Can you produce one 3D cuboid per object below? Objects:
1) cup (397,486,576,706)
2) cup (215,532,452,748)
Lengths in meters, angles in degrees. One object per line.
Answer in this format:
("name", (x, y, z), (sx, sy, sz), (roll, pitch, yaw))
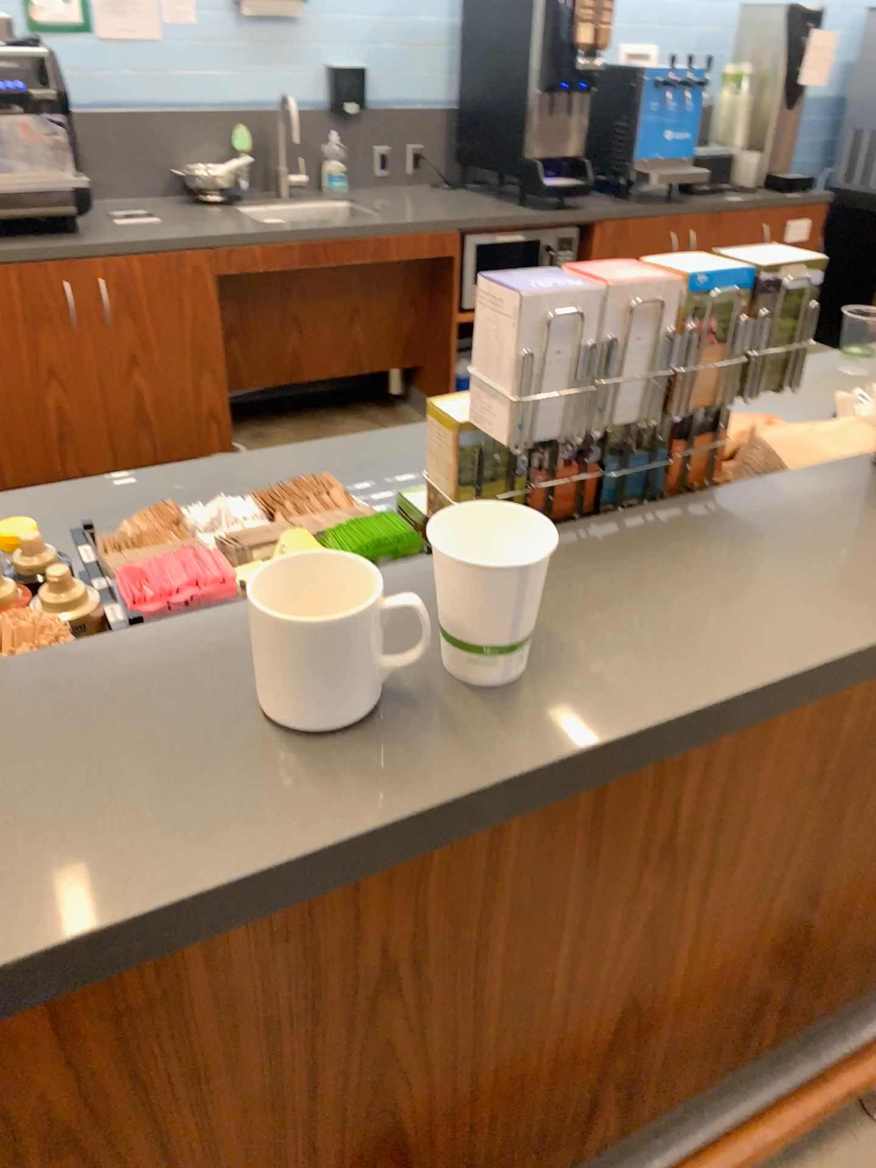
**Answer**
("cup", (0.030, 0.006, 0.627), (0.090, 0.109, 0.080), (-15, 36, -25))
("cup", (-0.064, 0.032, 0.556), (0.130, 0.089, 0.091), (-3, 32, -7))
